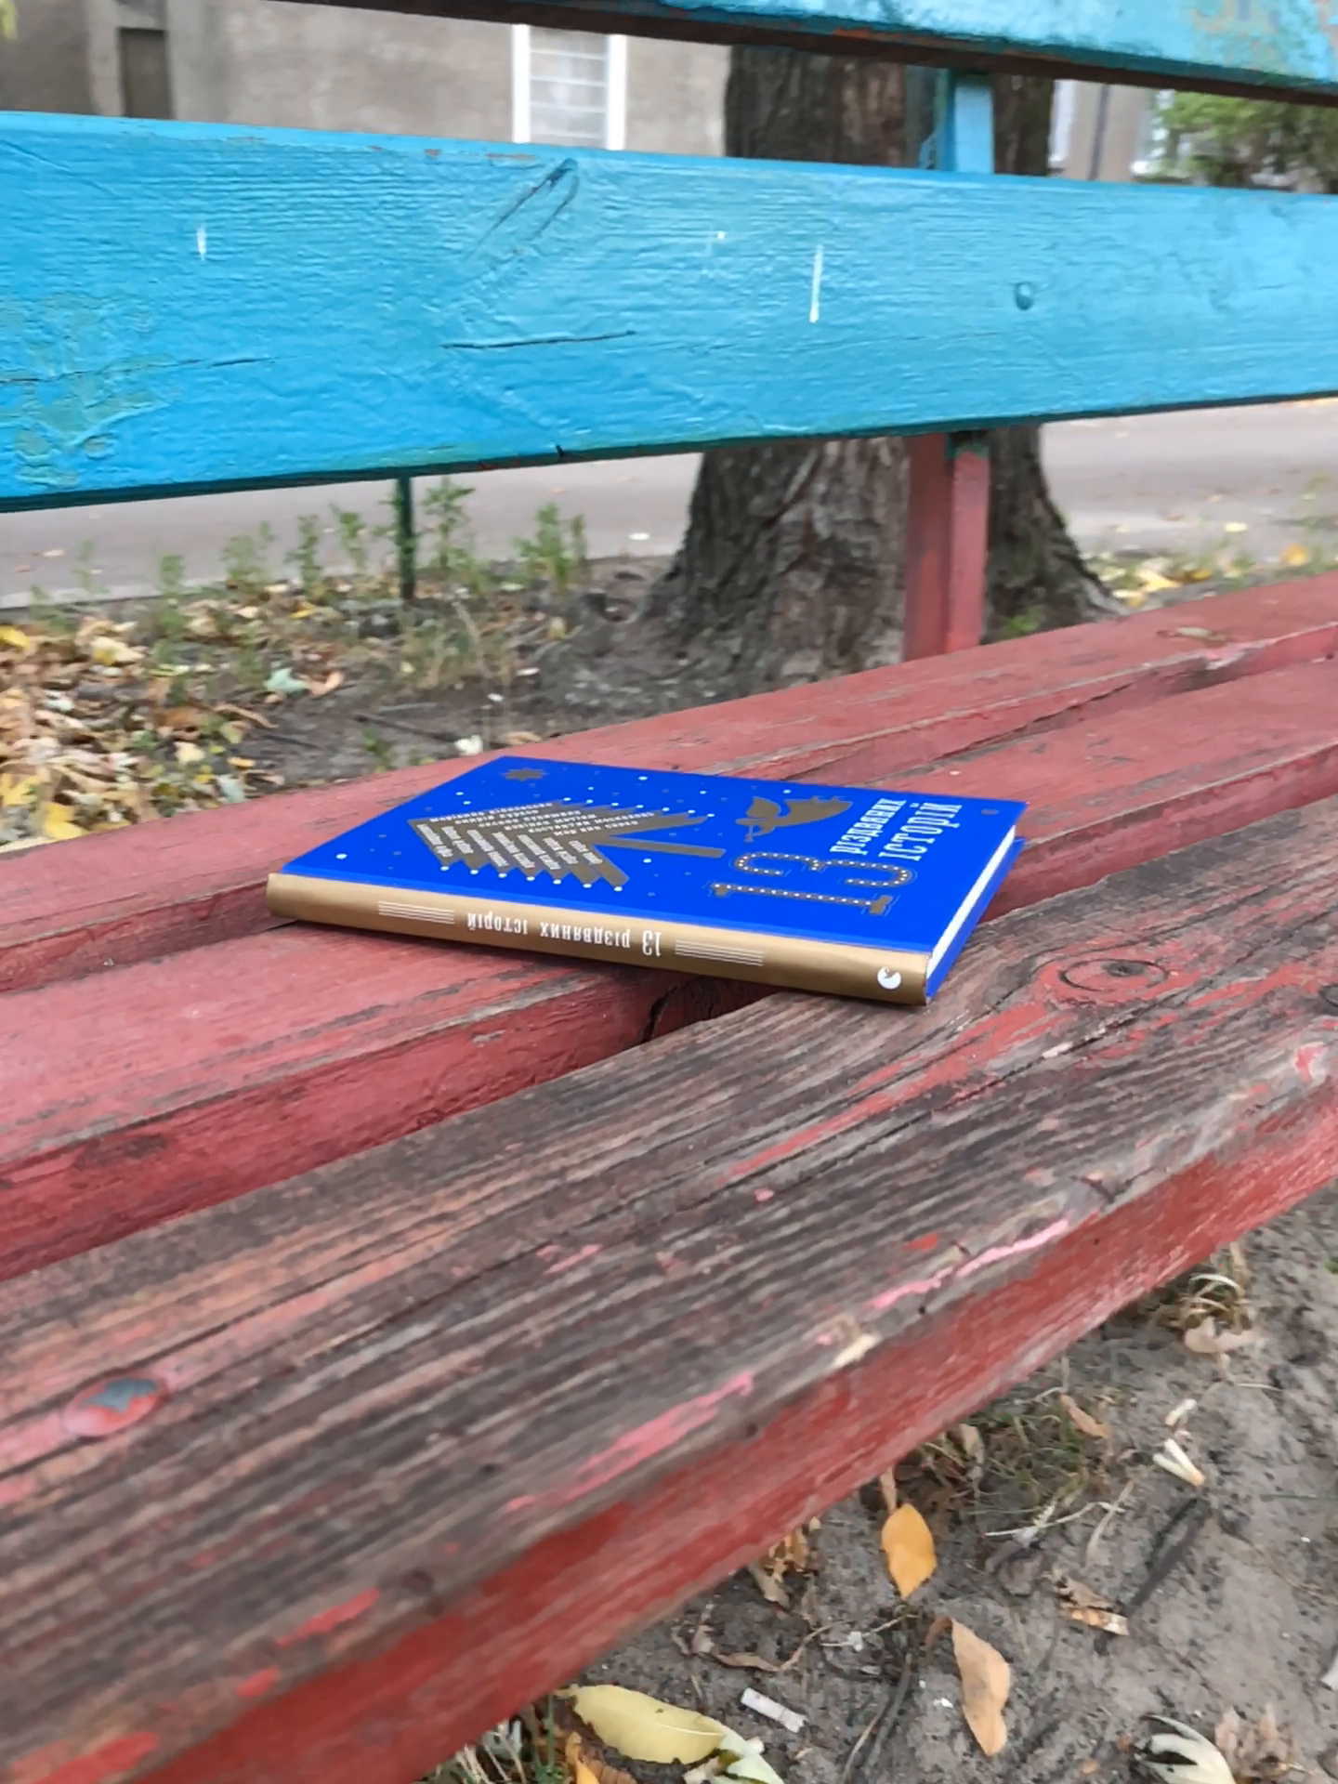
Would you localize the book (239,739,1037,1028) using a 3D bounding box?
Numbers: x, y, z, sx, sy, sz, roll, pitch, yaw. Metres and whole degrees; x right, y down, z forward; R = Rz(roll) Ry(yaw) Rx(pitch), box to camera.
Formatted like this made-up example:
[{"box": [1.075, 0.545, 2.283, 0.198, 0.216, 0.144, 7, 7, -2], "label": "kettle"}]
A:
[{"box": [-0.001, -0.013, 0.473, 0.212, 0.020, 0.156, 7, 22, 20], "label": "book"}]
